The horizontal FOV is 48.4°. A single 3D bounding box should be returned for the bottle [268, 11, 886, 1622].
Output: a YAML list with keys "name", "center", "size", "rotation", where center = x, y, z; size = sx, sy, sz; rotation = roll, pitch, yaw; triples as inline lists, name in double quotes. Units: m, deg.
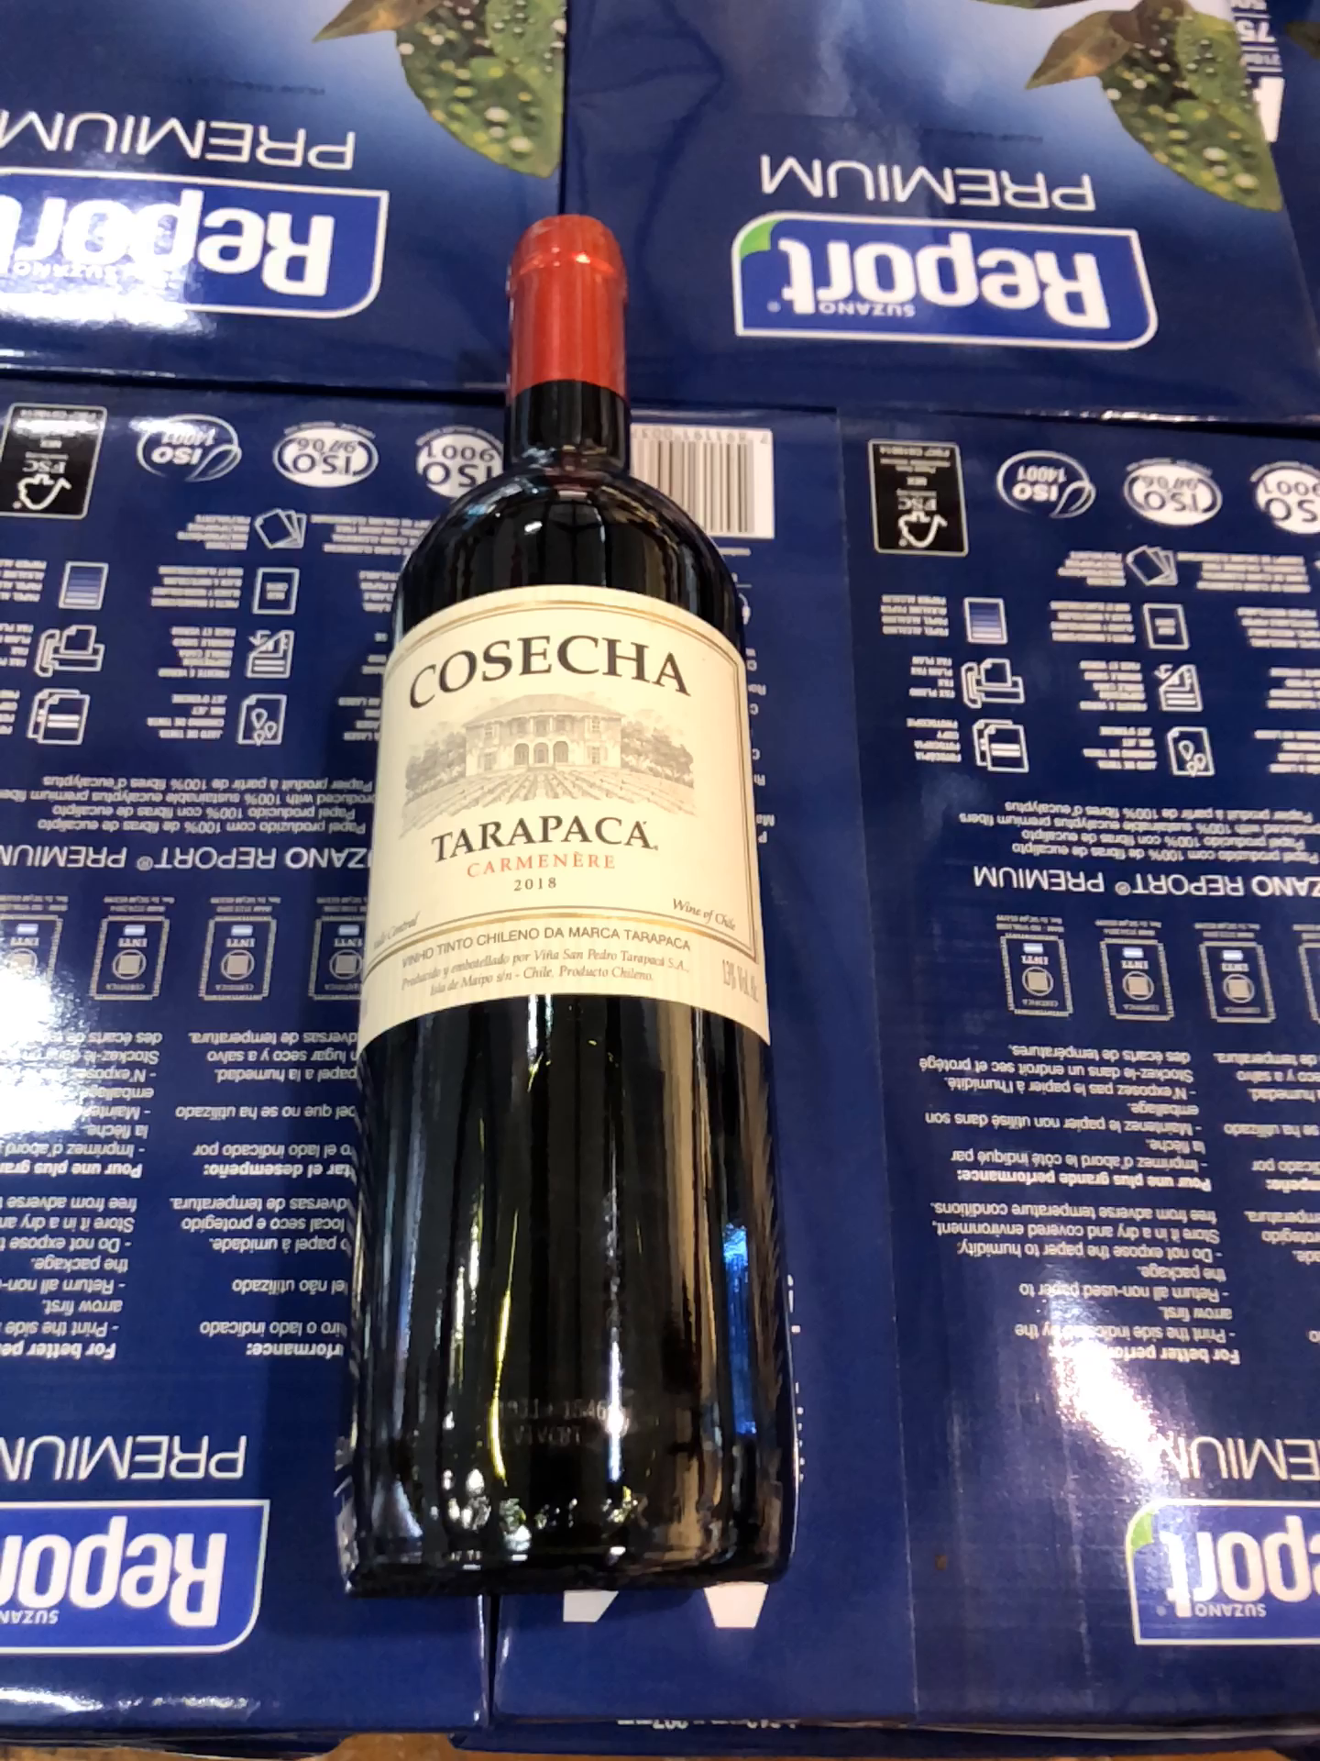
- name: "bottle"
  center: [-0.017, -0.039, 0.292]
  size: [0.080, 0.060, 0.331]
  rotation: [1, 63, -4]
